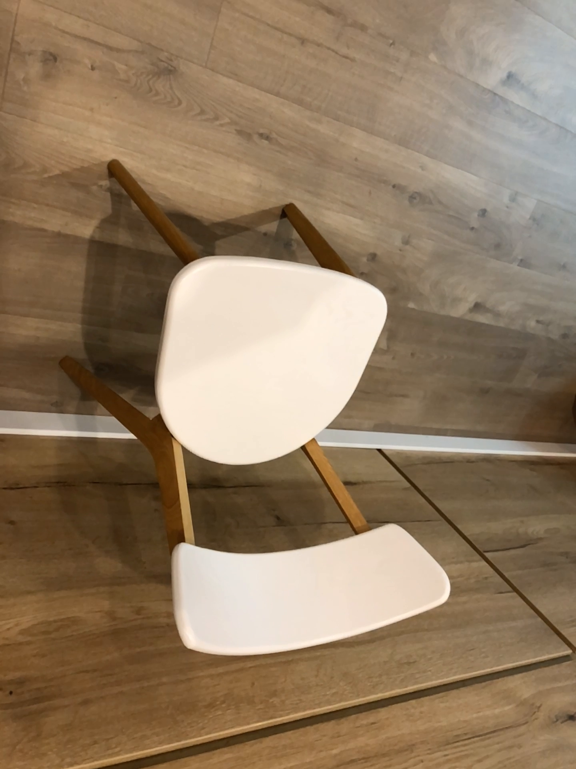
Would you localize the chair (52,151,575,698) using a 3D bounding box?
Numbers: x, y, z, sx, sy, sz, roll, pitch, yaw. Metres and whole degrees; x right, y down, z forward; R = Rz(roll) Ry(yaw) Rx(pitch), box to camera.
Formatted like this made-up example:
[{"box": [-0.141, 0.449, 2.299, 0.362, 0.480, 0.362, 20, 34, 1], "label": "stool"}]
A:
[{"box": [-0.073, -0.017, 1.157, 0.502, 0.826, 0.531, 2, 118, -31], "label": "chair"}]
